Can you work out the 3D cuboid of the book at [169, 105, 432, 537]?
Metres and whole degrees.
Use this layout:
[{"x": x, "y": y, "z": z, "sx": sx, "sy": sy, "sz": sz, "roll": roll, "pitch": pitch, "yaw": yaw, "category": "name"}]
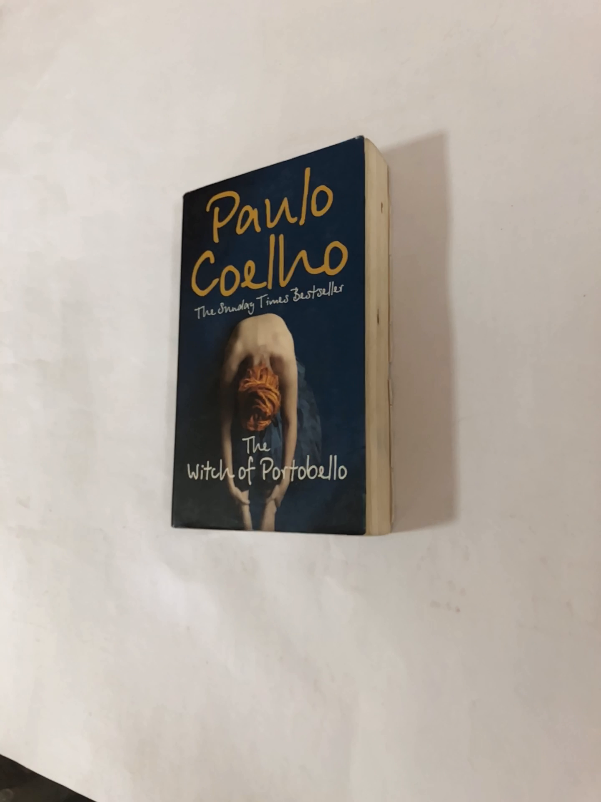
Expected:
[{"x": -0.004, "y": -0.030, "z": 0.316, "sx": 0.121, "sy": 0.030, "sz": 0.180, "roll": -5, "pitch": 80, "yaw": 32, "category": "book"}]
